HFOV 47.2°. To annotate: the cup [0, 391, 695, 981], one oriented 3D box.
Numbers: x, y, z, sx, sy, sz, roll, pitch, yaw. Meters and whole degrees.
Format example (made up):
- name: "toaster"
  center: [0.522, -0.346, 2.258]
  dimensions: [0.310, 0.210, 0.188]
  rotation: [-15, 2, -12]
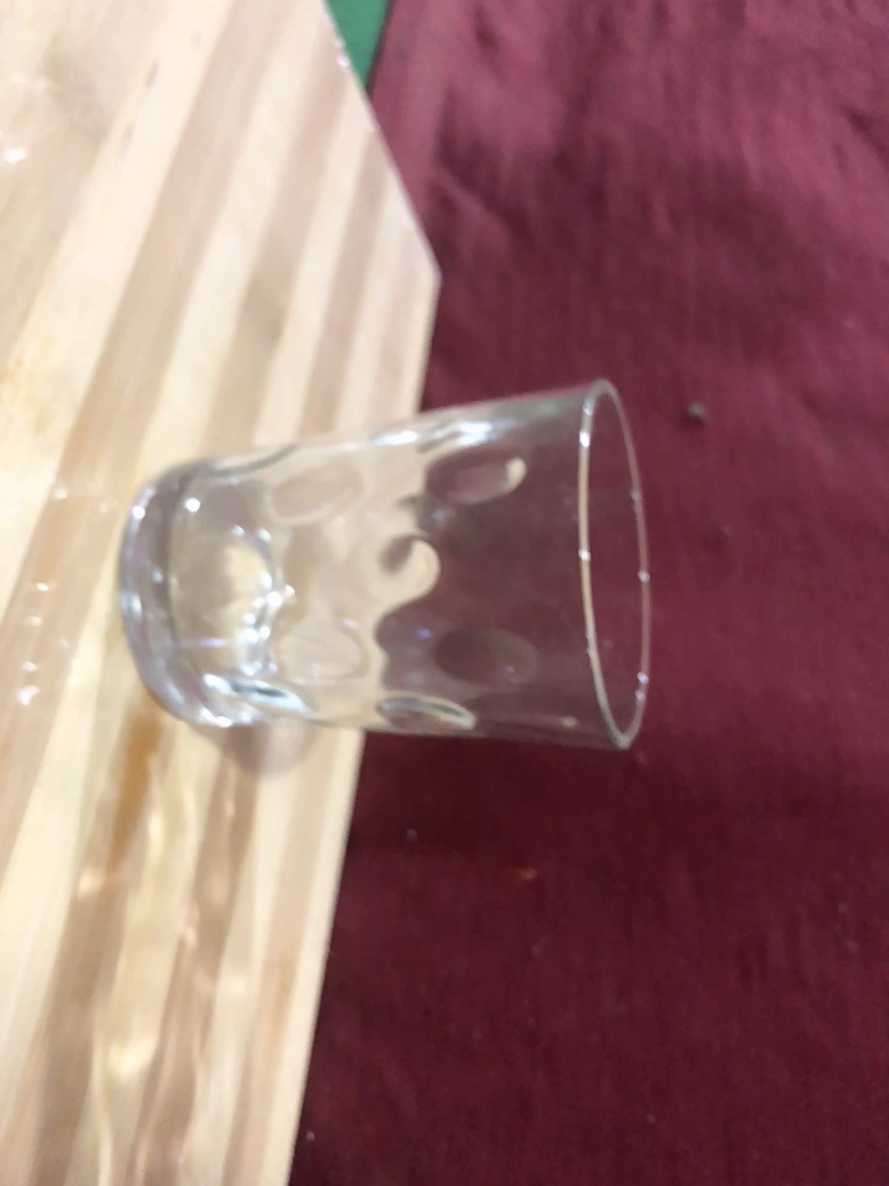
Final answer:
- name: "cup"
  center: [-0.010, 0.012, 0.232]
  dimensions: [0.100, 0.119, 0.100]
  rotation: [-3, 90, -73]
